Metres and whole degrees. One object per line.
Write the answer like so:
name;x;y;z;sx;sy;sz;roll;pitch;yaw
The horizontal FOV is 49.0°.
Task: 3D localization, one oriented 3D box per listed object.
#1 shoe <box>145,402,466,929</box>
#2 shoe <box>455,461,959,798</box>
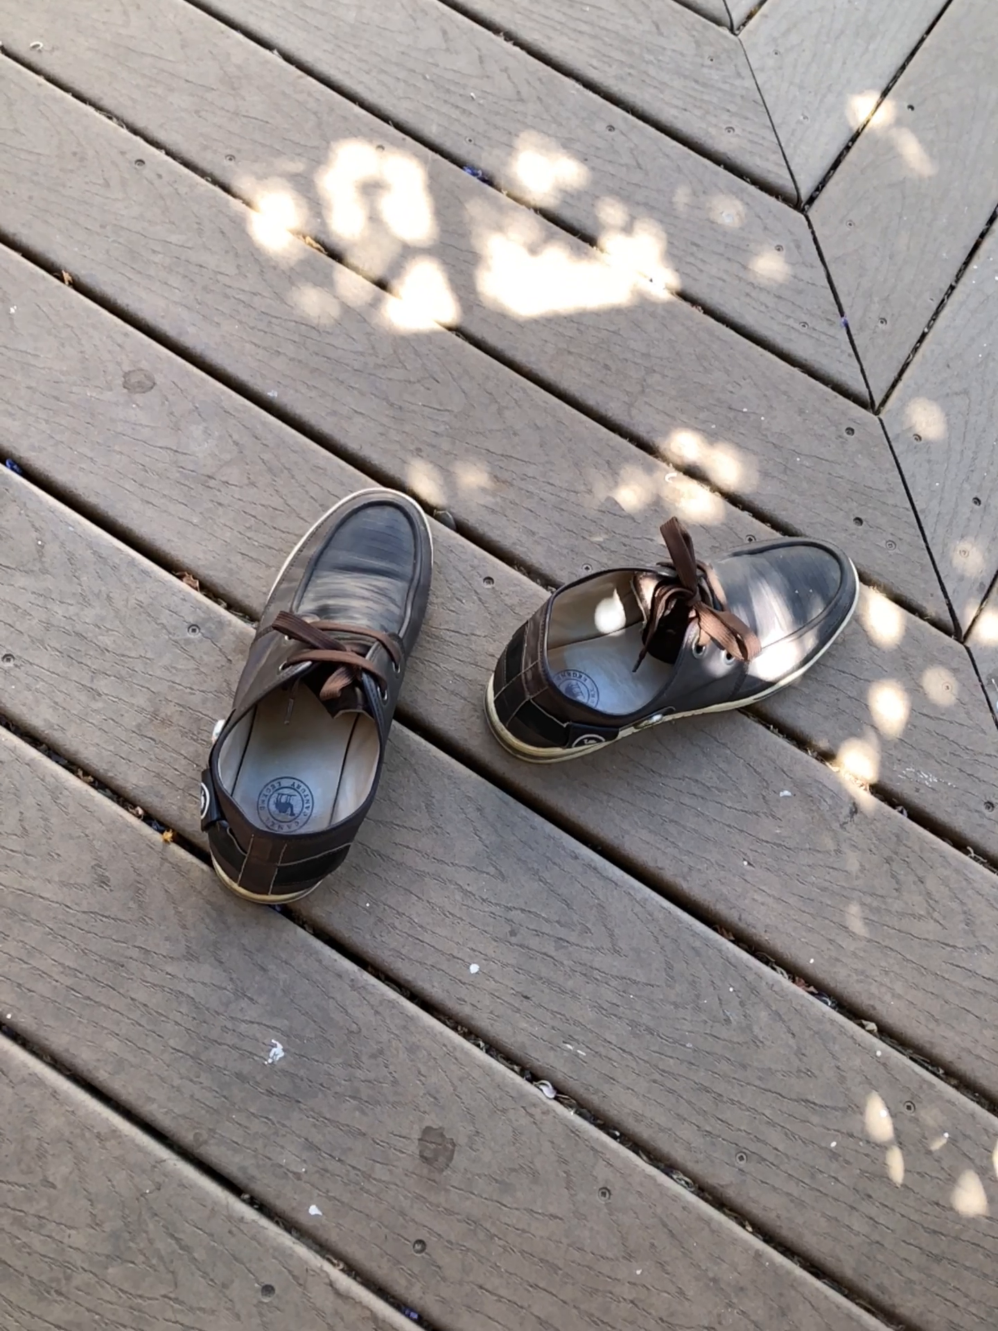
shoe;-0.115;0.001;0.708;0.108;0.121;0.301;15;68;-3
shoe;0.136;-0.025;0.755;0.303;0.121;0.108;-19;74;-15
